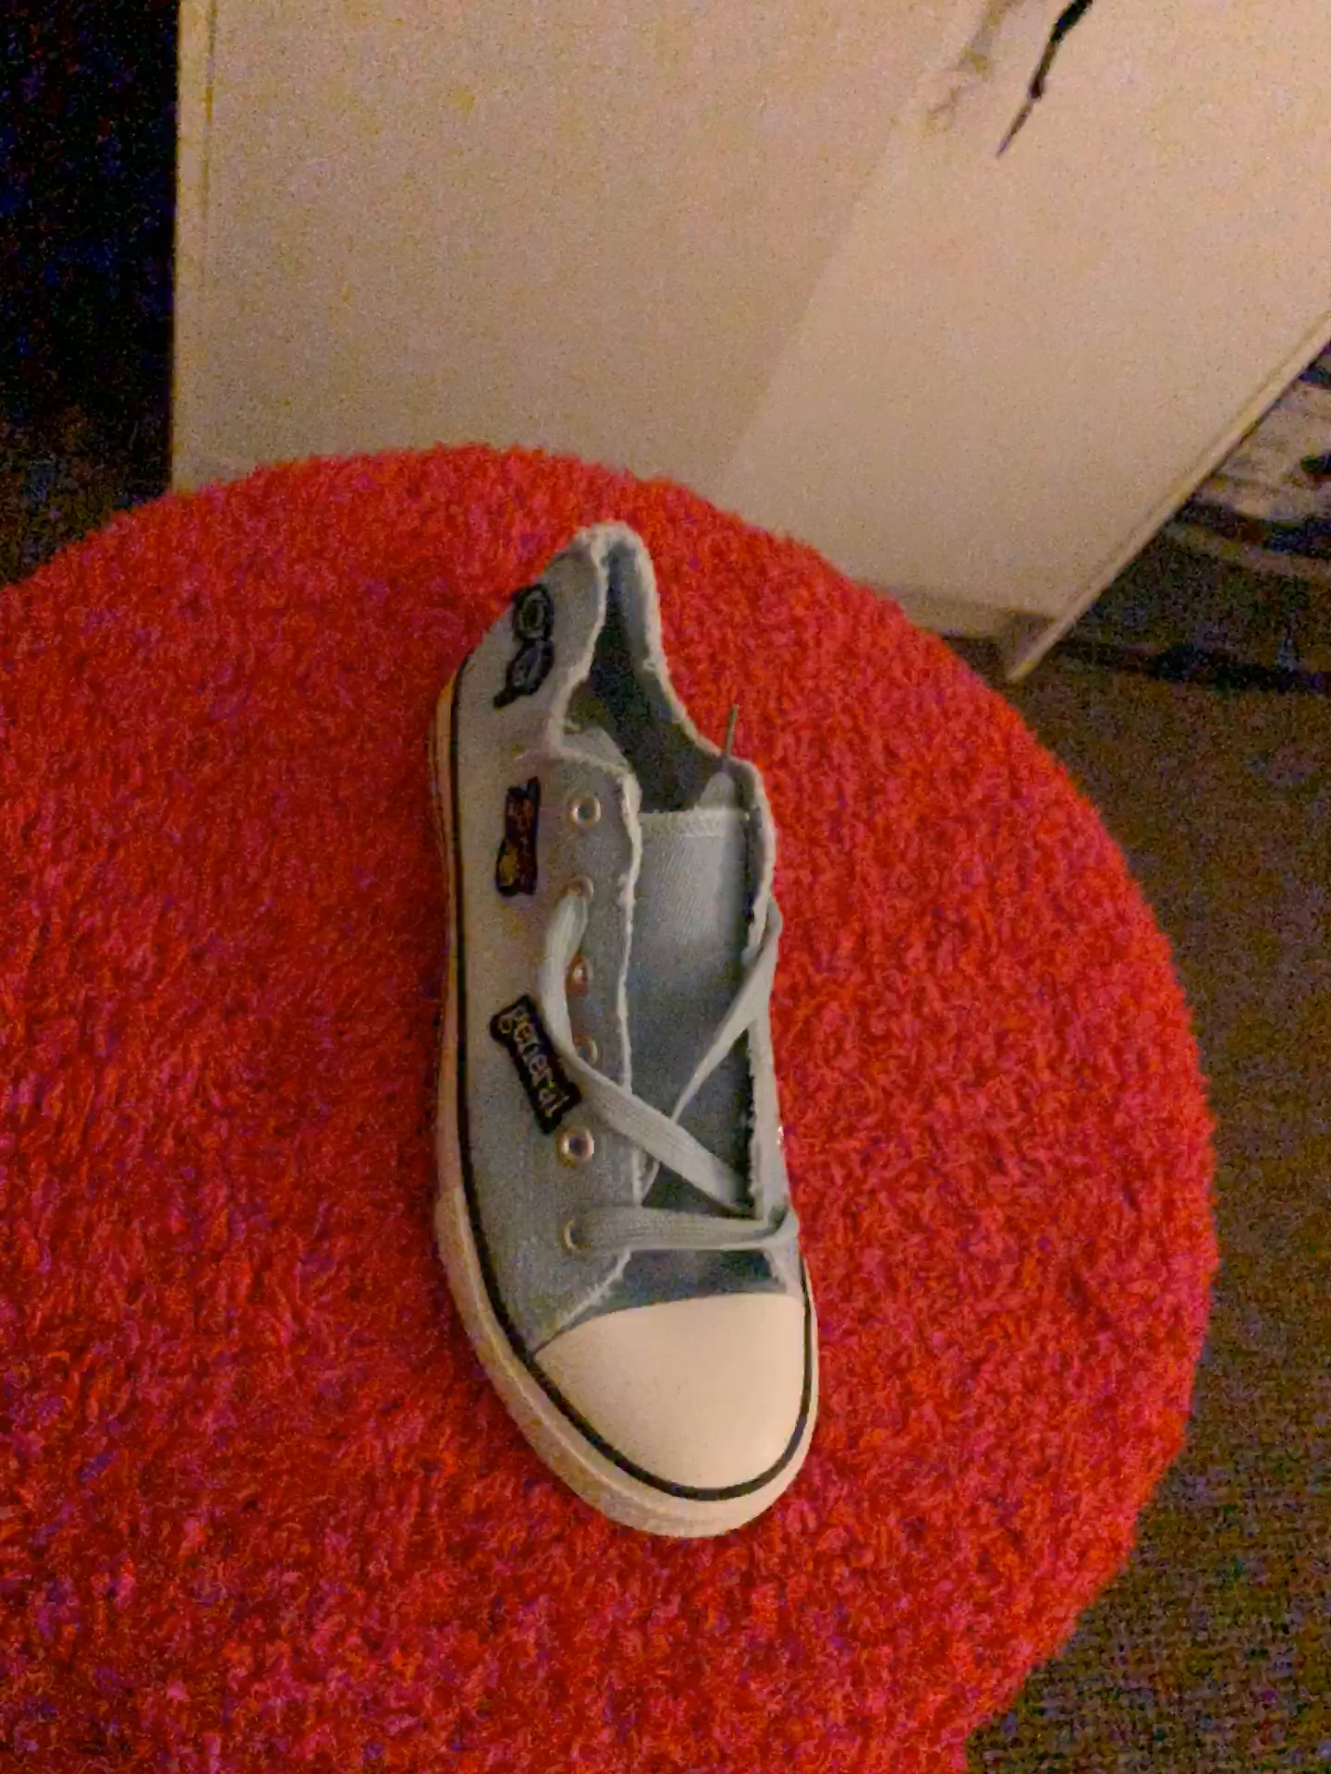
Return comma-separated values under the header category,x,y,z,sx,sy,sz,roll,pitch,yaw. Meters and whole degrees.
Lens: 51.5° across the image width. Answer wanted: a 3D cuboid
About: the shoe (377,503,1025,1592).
category,x,y,z,sx,sy,sz,roll,pitch,yaw
shoe,-0.008,0.031,0.354,0.097,0.087,0.251,-1,62,-21
